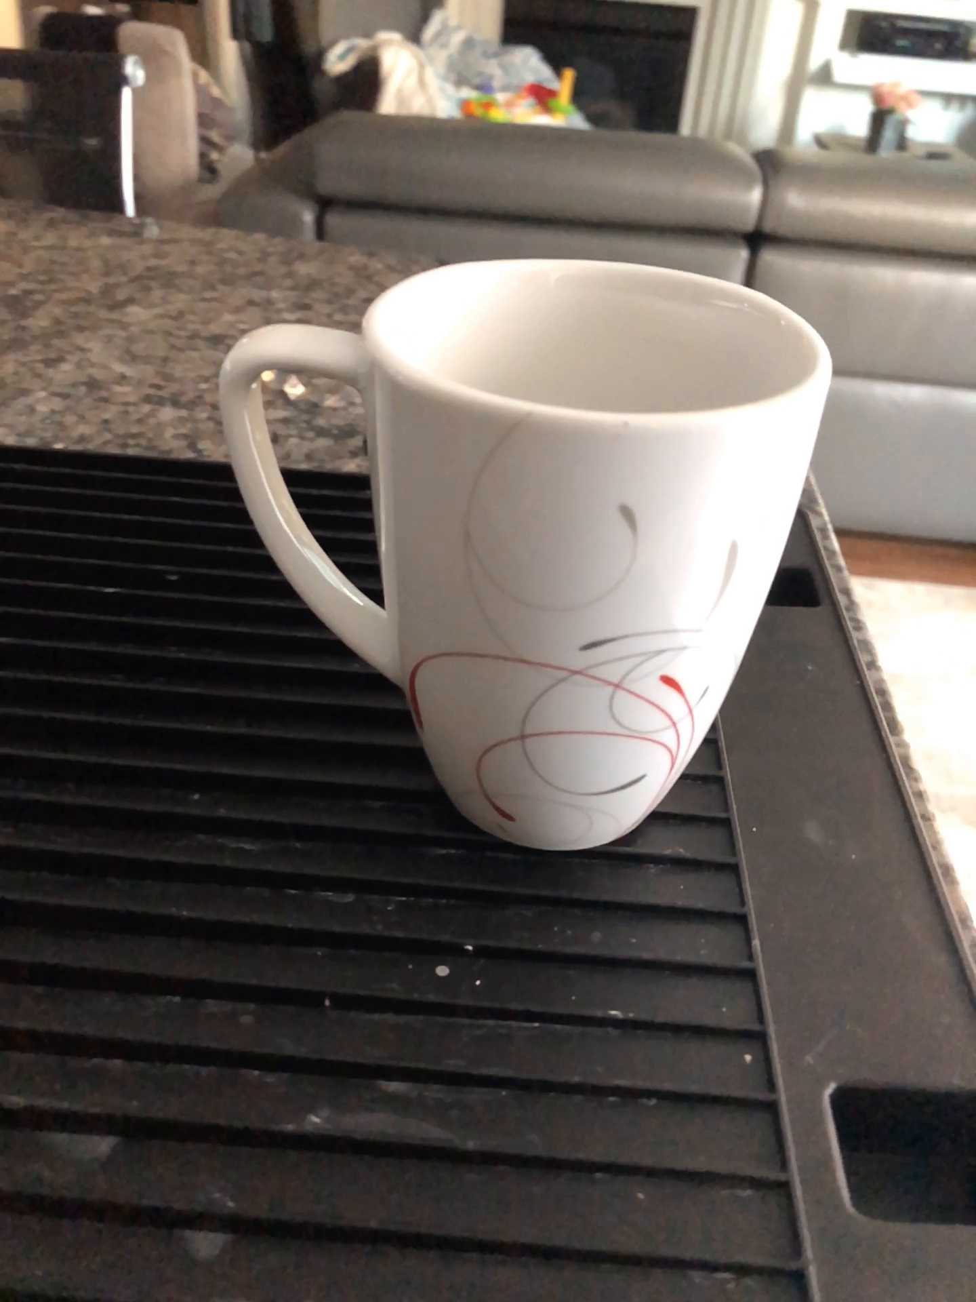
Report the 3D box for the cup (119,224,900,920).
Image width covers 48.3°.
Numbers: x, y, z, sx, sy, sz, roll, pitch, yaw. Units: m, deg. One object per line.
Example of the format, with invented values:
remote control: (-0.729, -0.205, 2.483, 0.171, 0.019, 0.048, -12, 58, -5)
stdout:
cup: (0.002, -0.019, 0.227, 0.116, 0.105, 0.088, 5, 34, 1)
